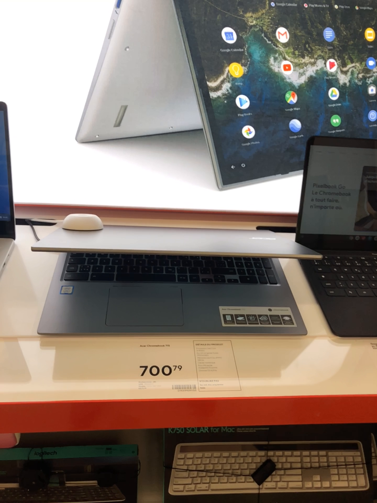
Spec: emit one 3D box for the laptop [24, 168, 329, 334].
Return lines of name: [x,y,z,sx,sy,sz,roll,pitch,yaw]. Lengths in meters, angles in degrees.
laptop: [-0.017,-0.010,0.626,0.368,0.109,0.245,1,37,-9]
